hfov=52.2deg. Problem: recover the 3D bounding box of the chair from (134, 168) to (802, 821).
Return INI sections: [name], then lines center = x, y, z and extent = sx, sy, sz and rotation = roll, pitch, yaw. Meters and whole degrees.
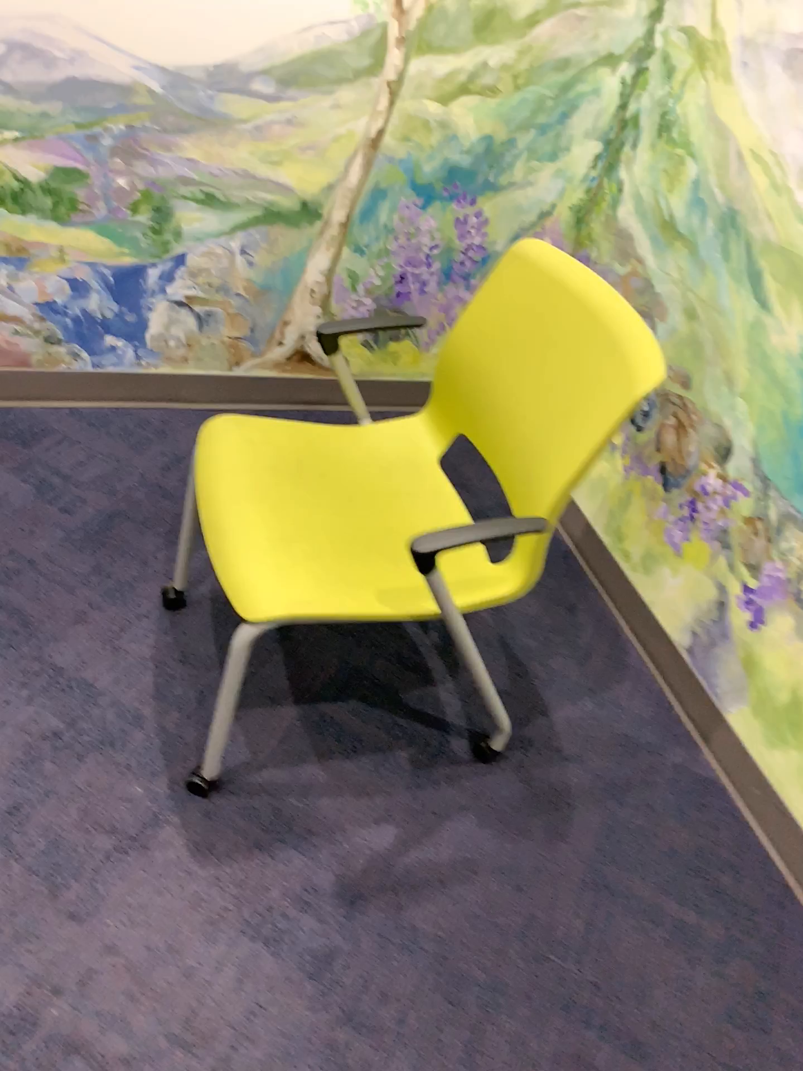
[chair]
center = -0.016, -0.047, 1.296
extent = 0.741, 0.717, 0.592
rotation = 0, 43, -20
